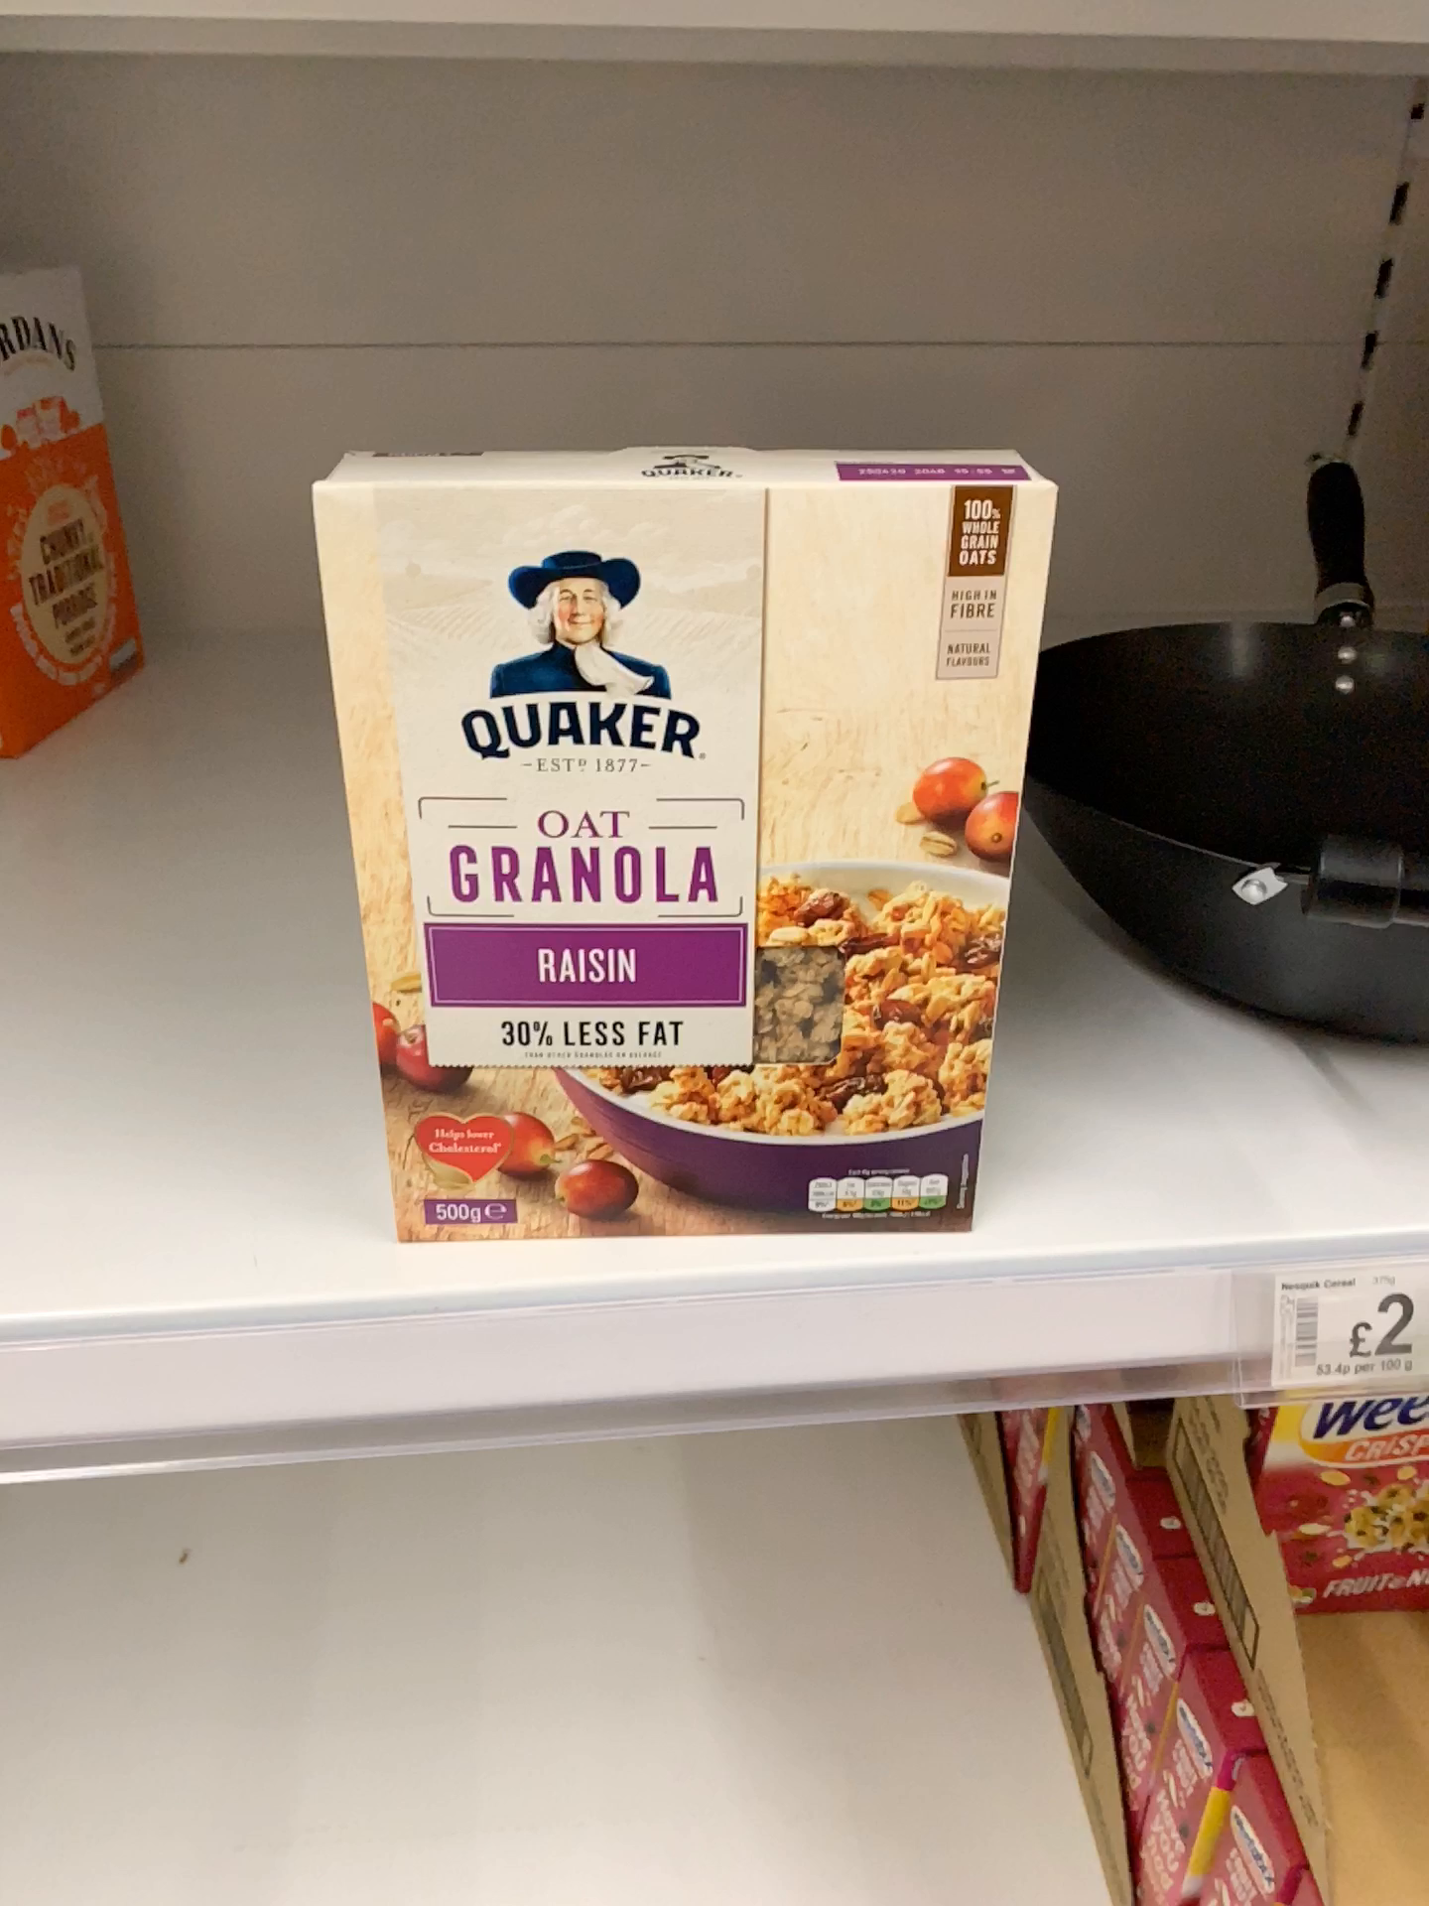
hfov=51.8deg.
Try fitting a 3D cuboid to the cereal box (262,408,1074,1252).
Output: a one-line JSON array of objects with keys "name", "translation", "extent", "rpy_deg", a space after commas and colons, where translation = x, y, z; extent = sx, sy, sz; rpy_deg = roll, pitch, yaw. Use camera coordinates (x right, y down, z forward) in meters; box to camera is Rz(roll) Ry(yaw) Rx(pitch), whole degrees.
[{"name": "cereal box", "translation": [-0.013, -0.029, 0.447], "extent": [0.200, 0.248, 0.061], "rpy_deg": [-1, 28, -3]}]
